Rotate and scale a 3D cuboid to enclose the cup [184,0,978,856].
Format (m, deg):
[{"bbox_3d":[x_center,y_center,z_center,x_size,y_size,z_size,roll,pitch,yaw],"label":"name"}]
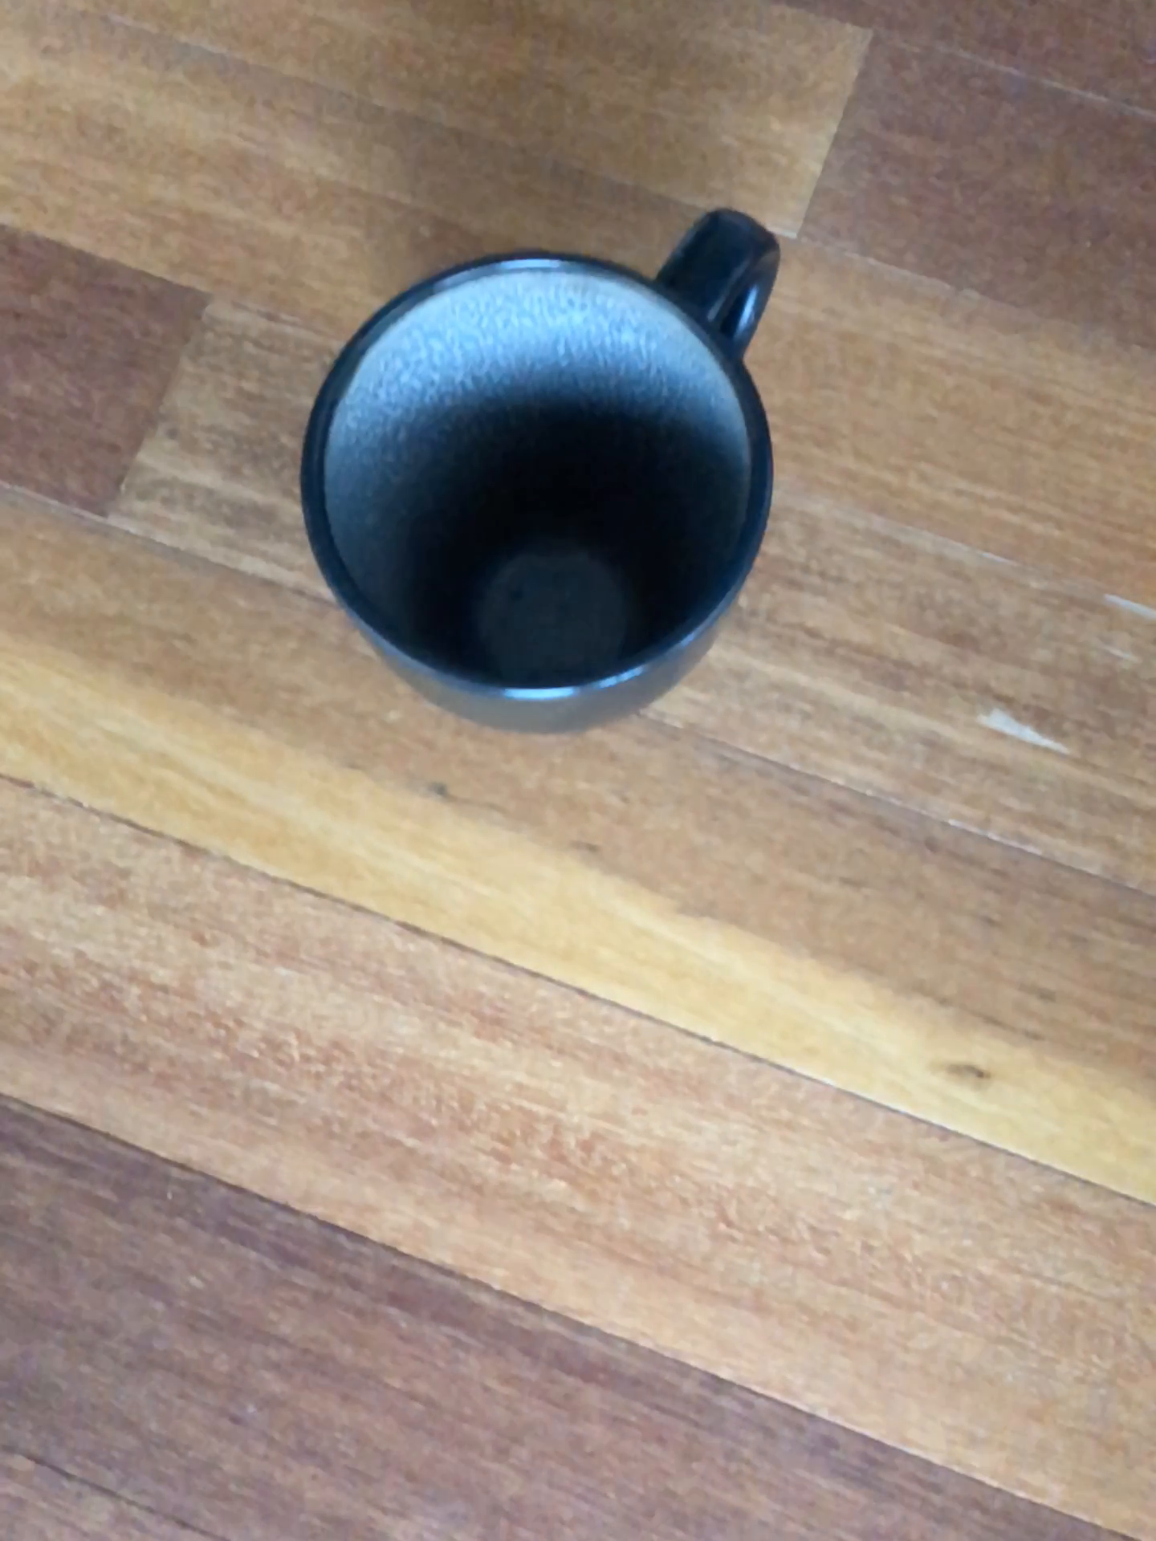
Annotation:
[{"bbox_3d":[0.002,-0.068,0.293,0.090,0.100,0.137,35,81,7],"label":"cup"}]
